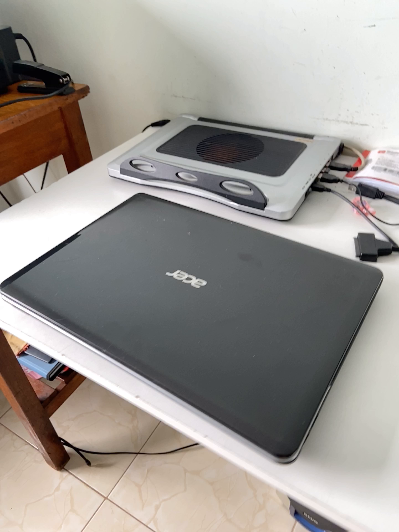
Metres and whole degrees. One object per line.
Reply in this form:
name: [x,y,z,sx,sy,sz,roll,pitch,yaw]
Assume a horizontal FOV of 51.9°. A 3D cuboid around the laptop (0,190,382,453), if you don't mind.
laptop: [-0.013,0.010,0.431,0.335,0.005,0.231,21,45,27]
